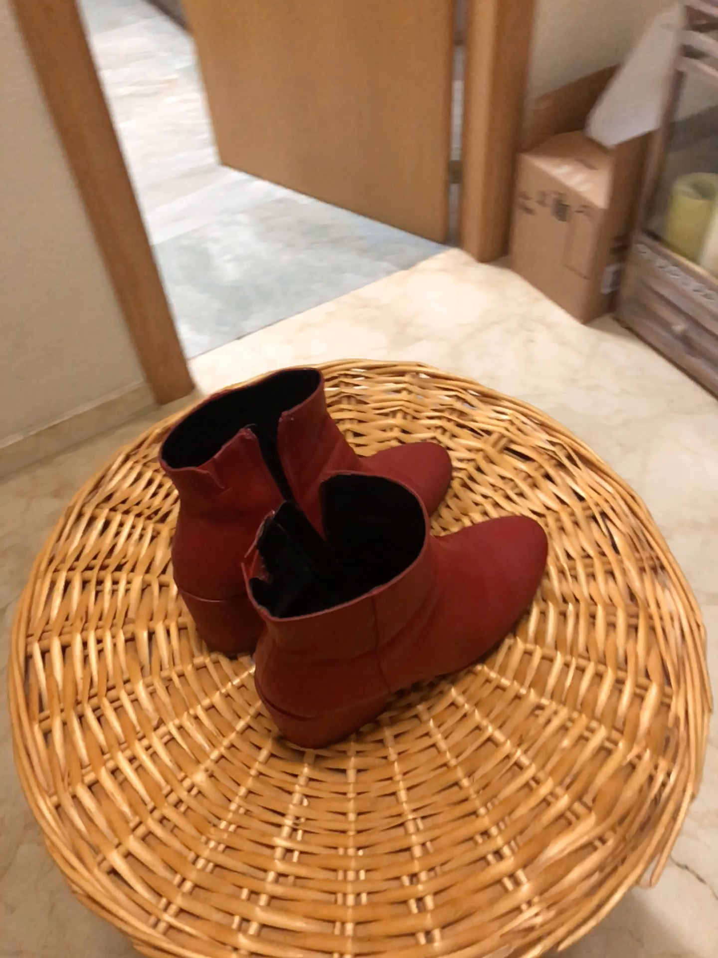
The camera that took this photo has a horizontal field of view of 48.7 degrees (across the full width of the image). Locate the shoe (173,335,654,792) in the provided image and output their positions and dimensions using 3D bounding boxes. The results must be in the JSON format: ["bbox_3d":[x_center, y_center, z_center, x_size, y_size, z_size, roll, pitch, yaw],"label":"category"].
[{"bbox_3d":[0.037,0.055,0.496,0.245,0.184,0.099,-28,54,-17],"label":"shoe"}]

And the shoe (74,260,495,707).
[{"bbox_3d":[-0.033,0.002,0.542,0.245,0.184,0.099,-37,58,-23],"label":"shoe"}]
